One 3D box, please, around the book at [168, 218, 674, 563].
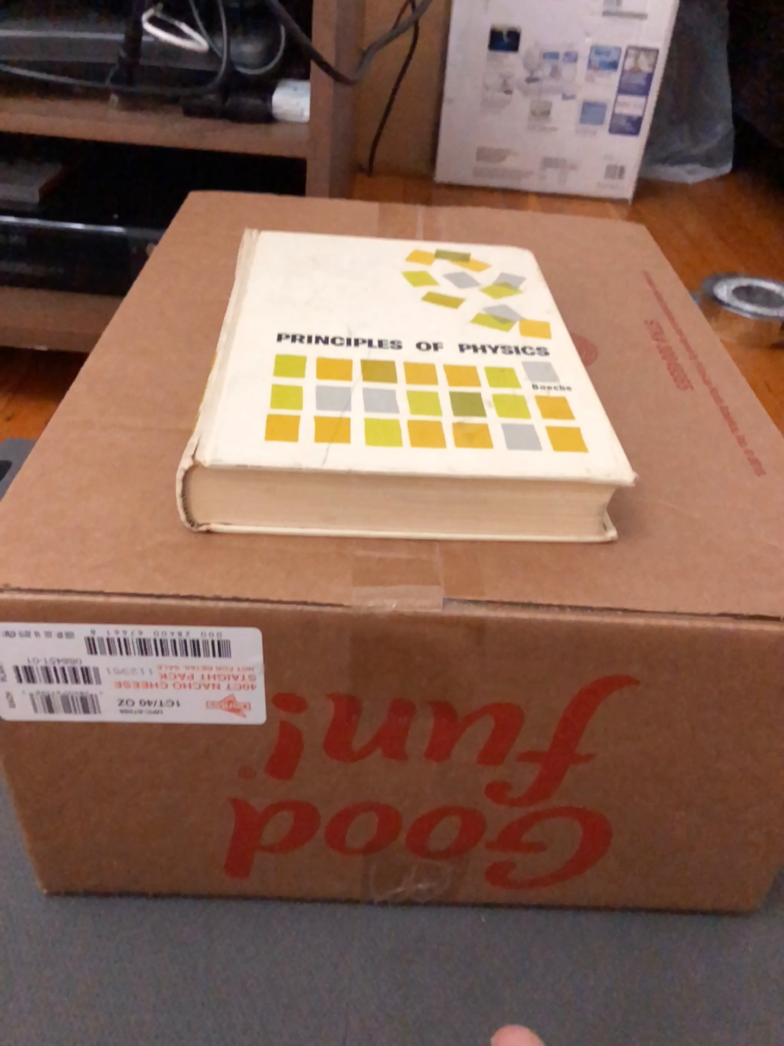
[{"bbox_3d":[0.008,-0.080,0.419,0.180,0.040,0.252,2,38,-3],"label":"book"}]
